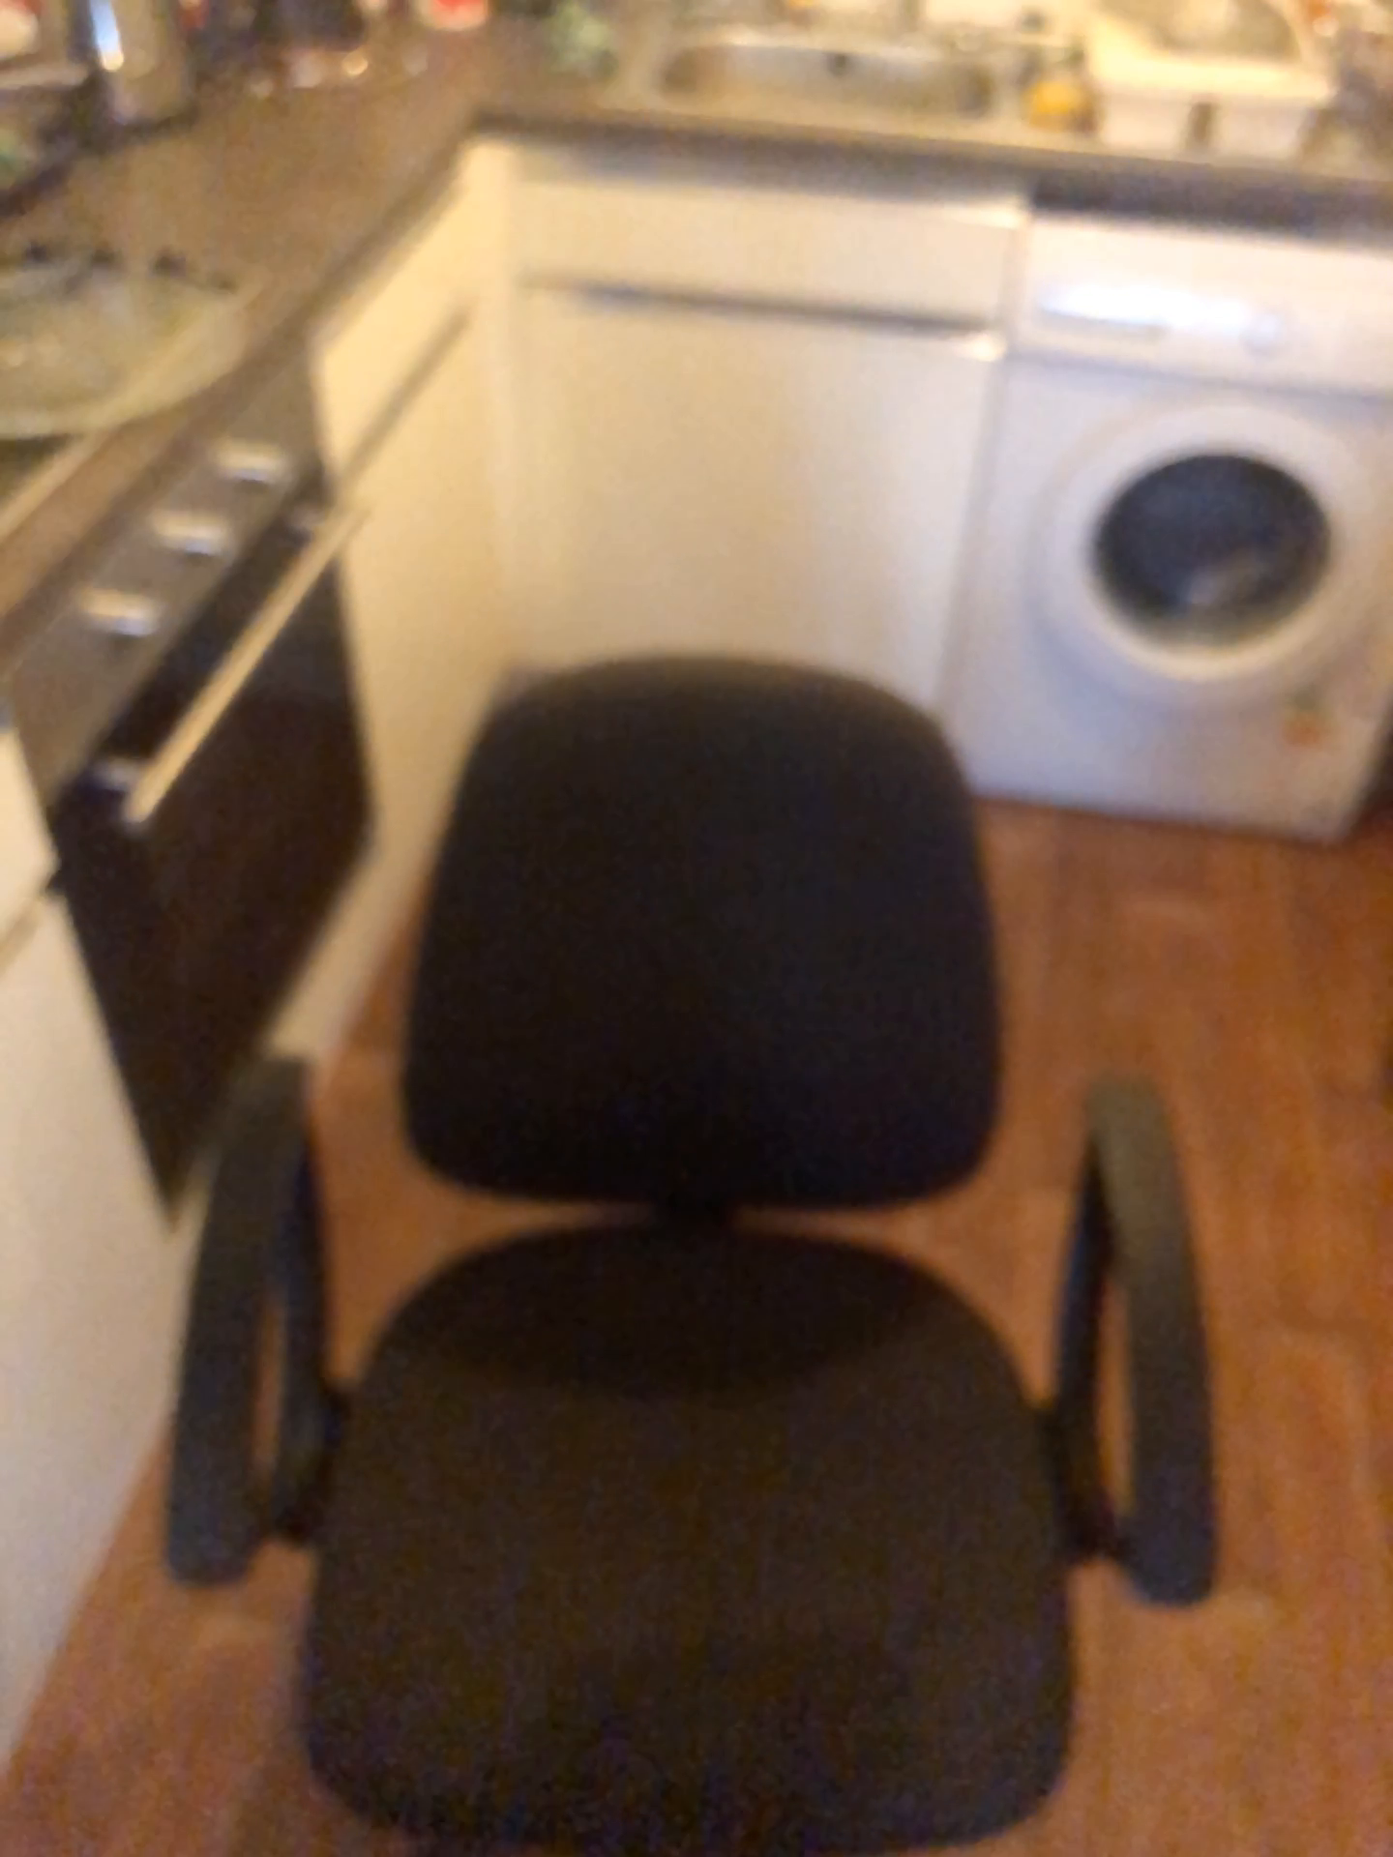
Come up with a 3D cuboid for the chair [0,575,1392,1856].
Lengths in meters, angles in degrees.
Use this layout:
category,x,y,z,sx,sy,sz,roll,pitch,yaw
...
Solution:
category,x,y,z,sx,sy,sz,roll,pitch,yaw
chair,-0.002,0.309,1.207,0.685,0.756,0.879,3,42,1
